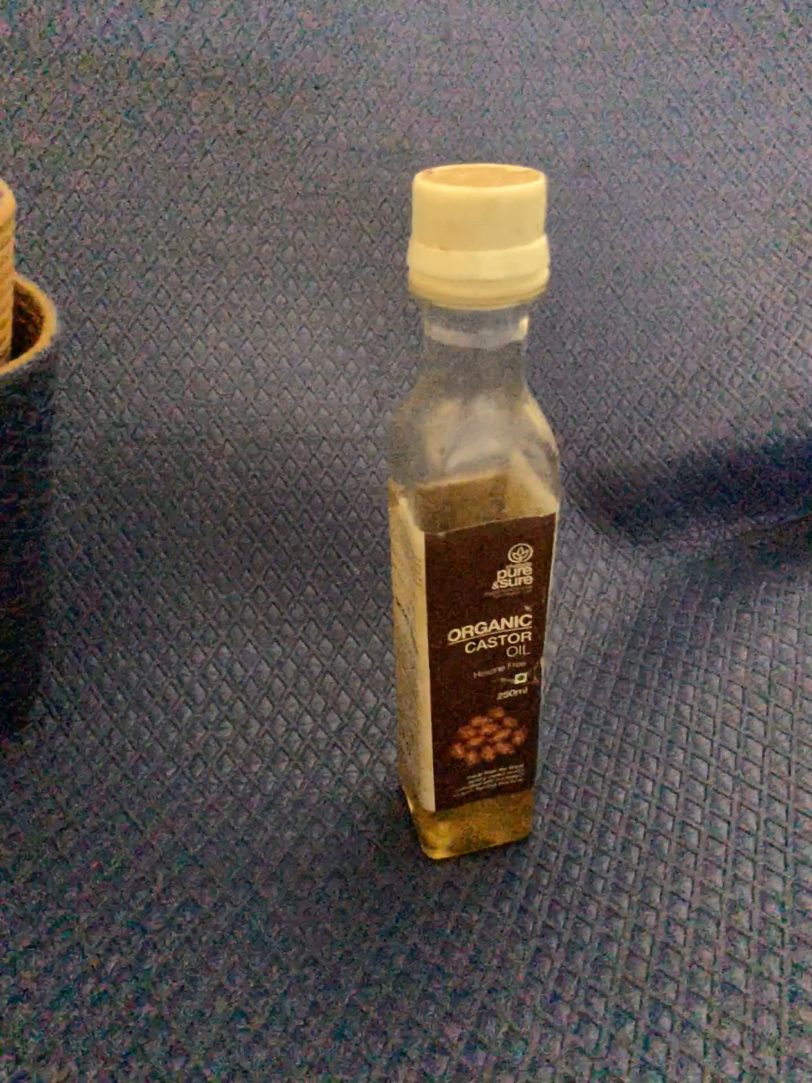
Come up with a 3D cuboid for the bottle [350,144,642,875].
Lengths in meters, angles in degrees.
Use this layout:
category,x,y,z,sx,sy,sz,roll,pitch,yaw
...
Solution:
category,x,y,z,sx,sy,sz,roll,pitch,yaw
bottle,0.021,0.002,0.237,0.050,0.198,0.050,-2,31,1
